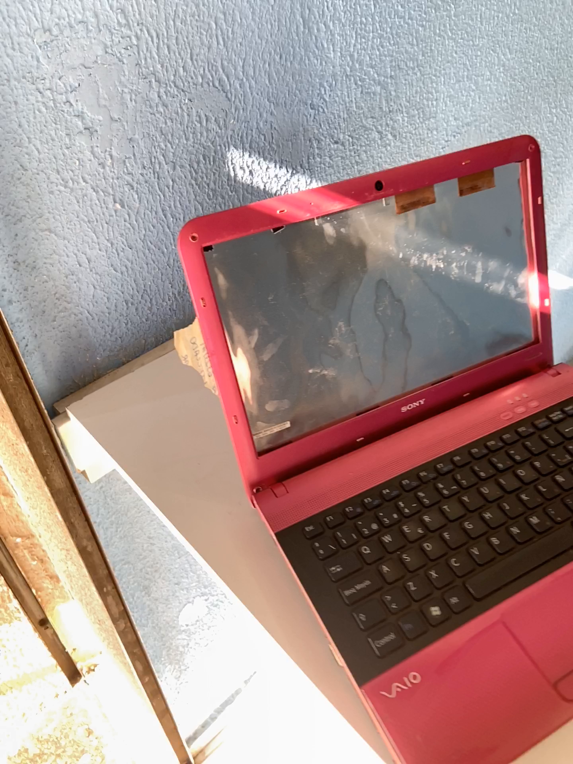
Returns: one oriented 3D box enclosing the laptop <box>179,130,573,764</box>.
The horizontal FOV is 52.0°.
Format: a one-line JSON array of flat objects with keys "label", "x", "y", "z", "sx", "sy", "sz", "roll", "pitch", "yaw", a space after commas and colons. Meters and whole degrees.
[{"label": "laptop", "x": 0.151, "y": 0.003, "z": 0.426, "sx": 0.331, "sy": 0.187, "sz": 0.341, "roll": -20, "pitch": 46, "yaw": -18}]
